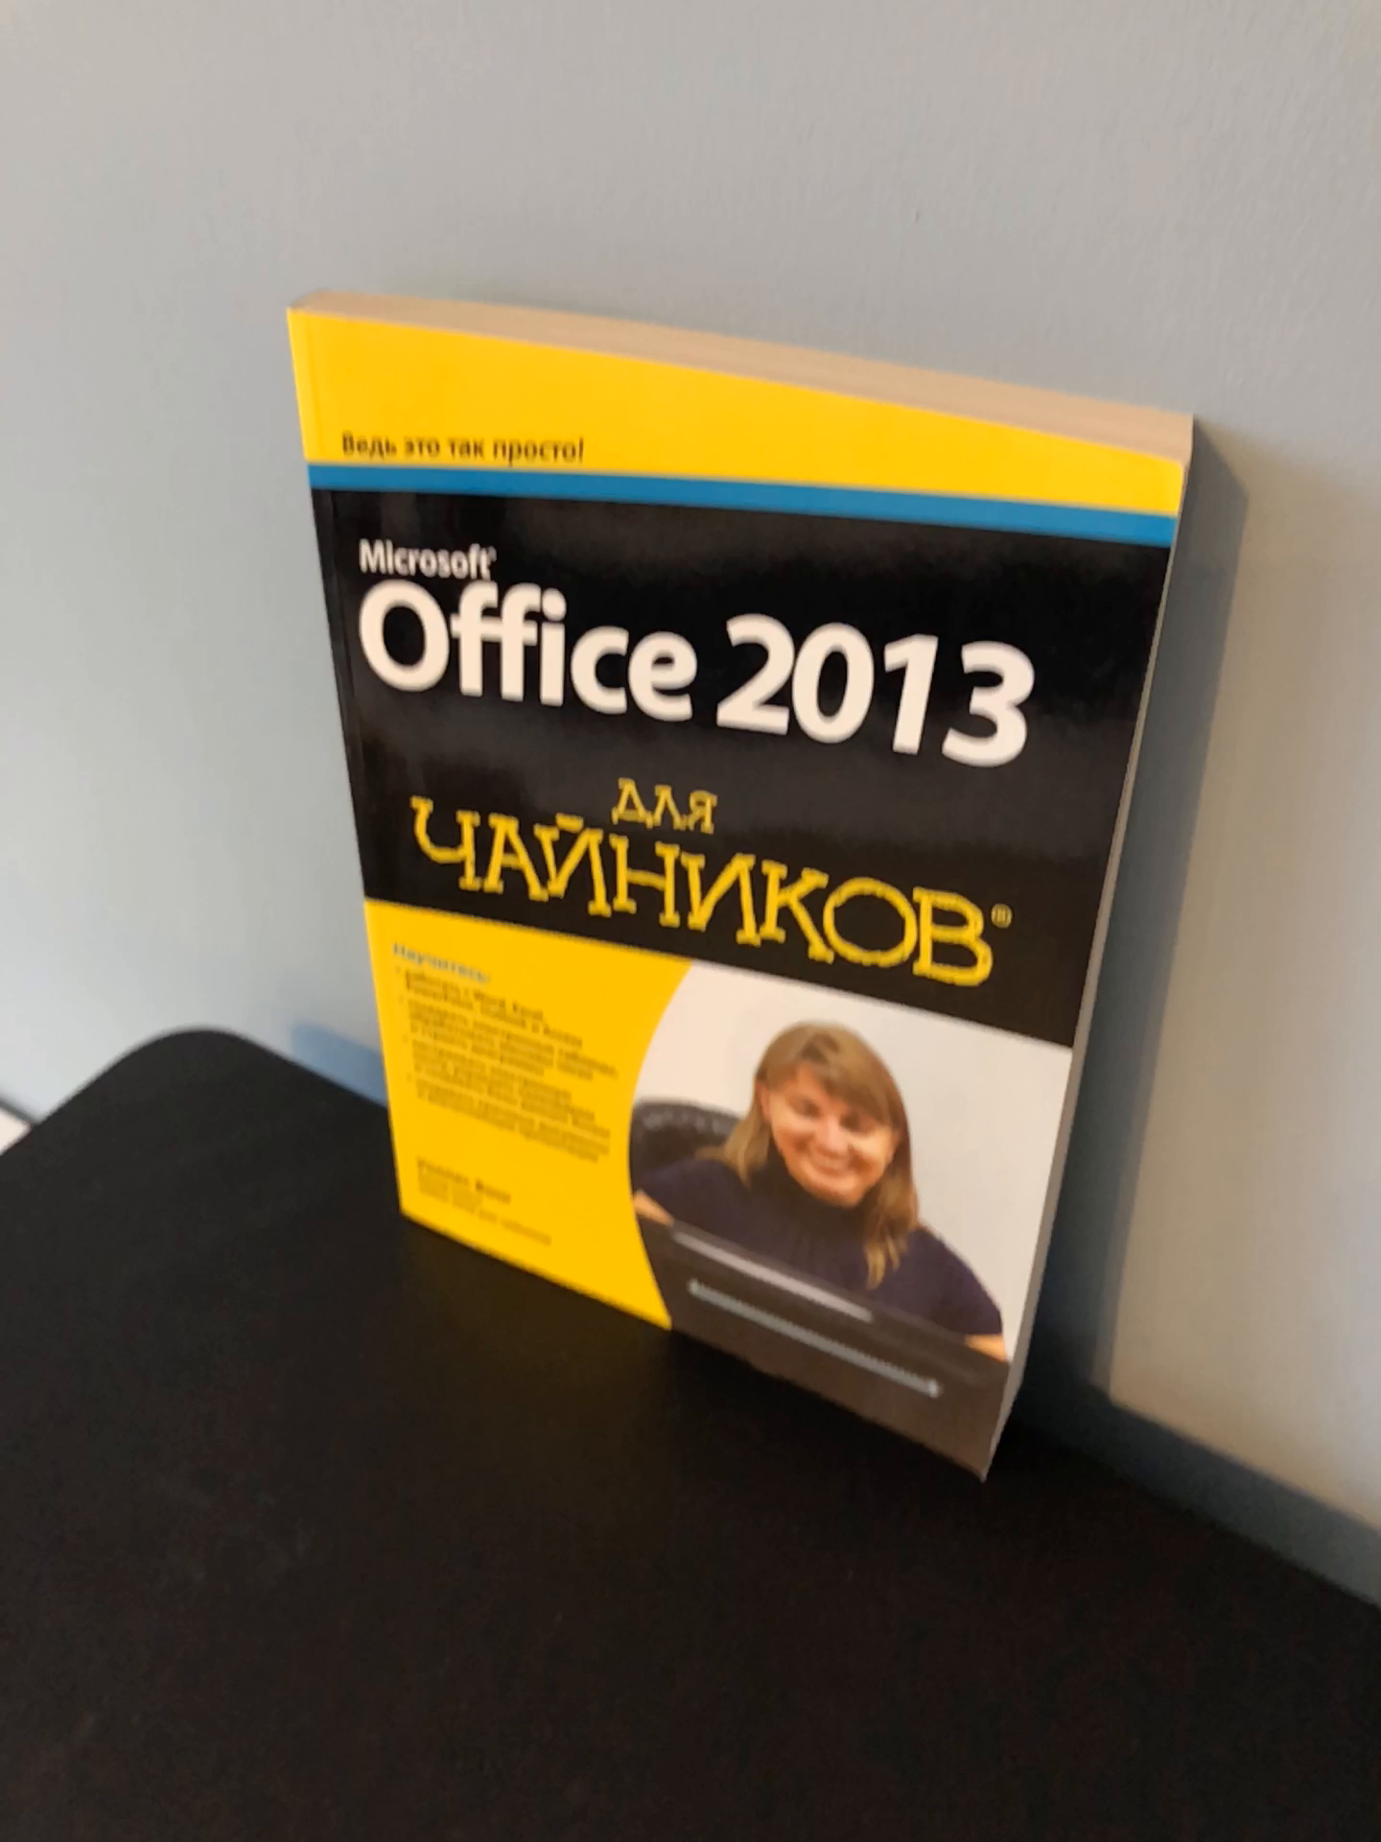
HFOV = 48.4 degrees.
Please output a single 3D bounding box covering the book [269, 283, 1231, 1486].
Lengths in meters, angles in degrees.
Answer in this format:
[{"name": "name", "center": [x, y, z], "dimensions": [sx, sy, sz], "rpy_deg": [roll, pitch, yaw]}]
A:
[{"name": "book", "center": [0.003, 0.001, 0.323], "dimensions": [0.165, 0.232, 0.031], "rpy_deg": [17, 38, 23]}]
